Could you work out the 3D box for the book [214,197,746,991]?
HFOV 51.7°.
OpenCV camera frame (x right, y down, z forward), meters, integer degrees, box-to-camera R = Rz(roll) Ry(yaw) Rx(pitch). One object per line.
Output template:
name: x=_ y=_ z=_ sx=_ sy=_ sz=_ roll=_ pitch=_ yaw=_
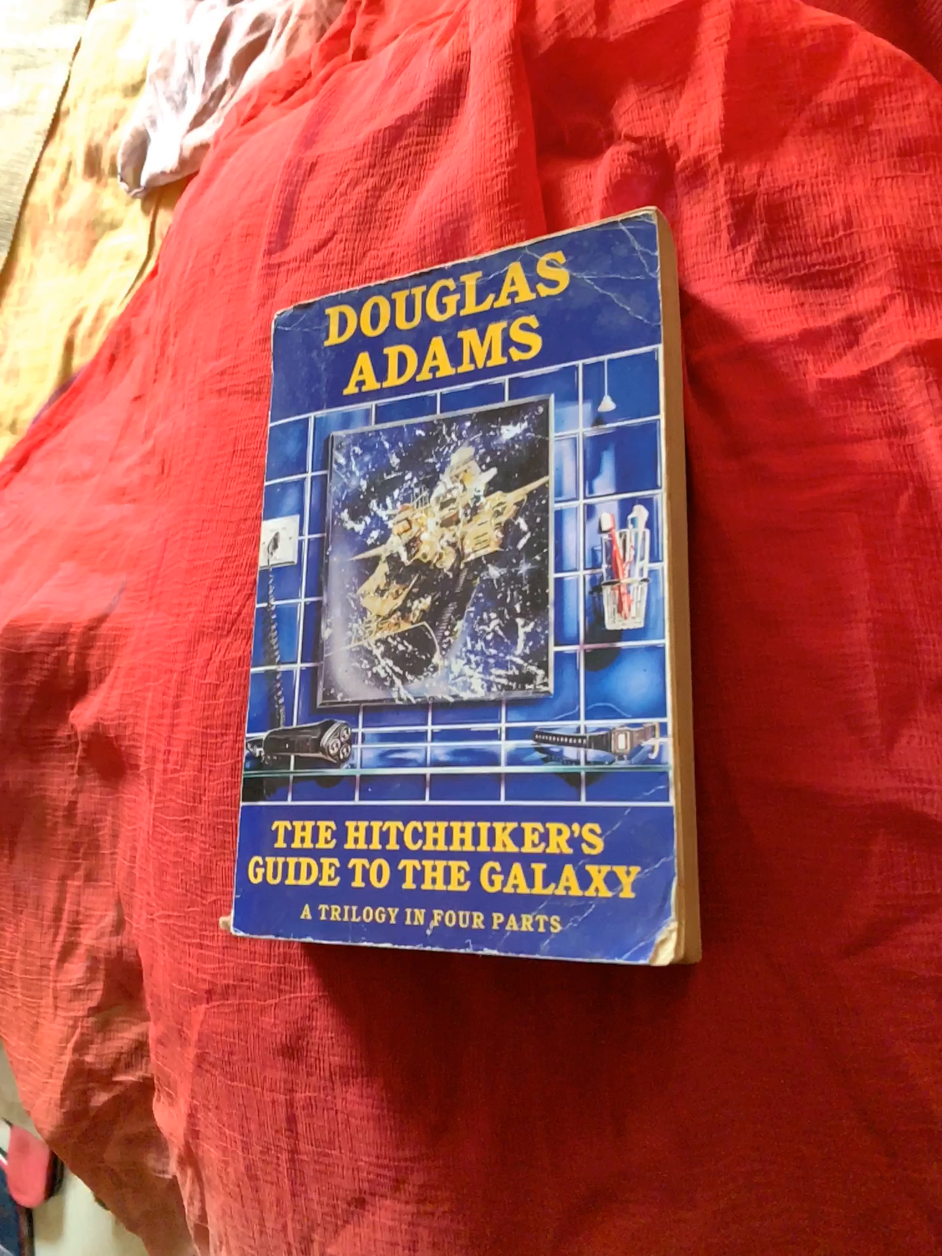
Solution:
book: x=0.003 y=-0.008 z=0.270 sx=0.130 sy=0.044 sz=0.187 roll=-4 pitch=76 yaw=26
